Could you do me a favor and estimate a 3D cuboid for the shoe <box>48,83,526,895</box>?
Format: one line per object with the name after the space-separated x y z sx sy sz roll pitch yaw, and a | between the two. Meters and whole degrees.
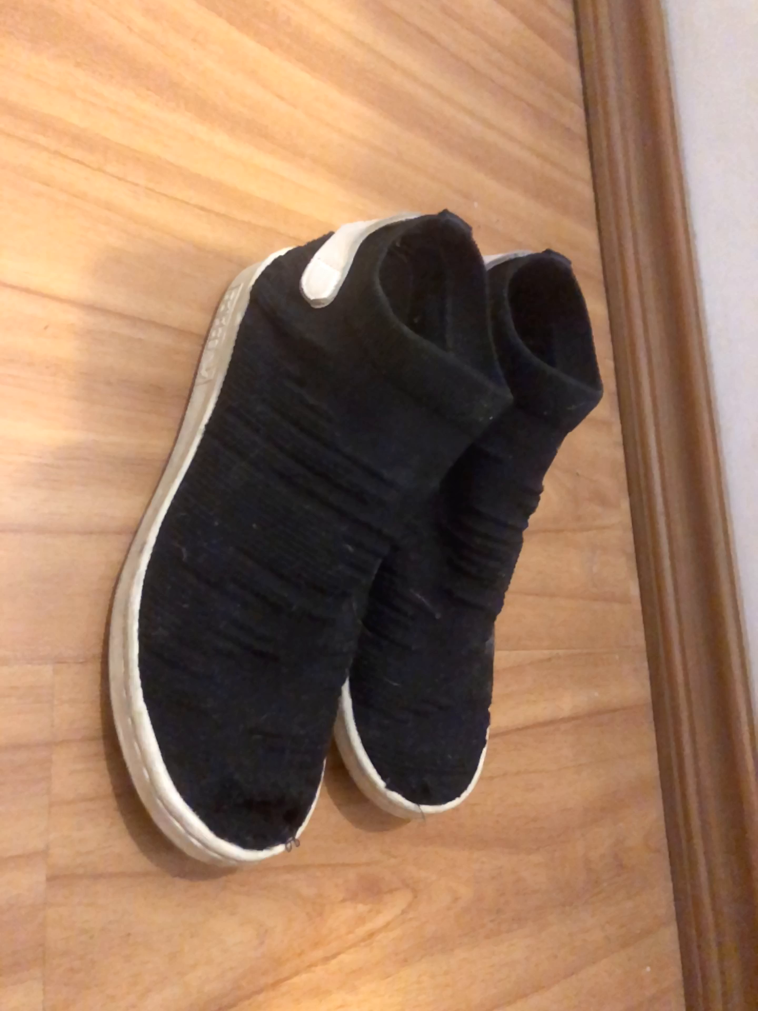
-0.025 -0.004 0.319 0.101 0.099 0.260 23 66 -36 | shoe

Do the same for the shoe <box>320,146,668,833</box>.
0.049 -0.002 0.375 0.101 0.099 0.260 14 71 -39 | shoe
